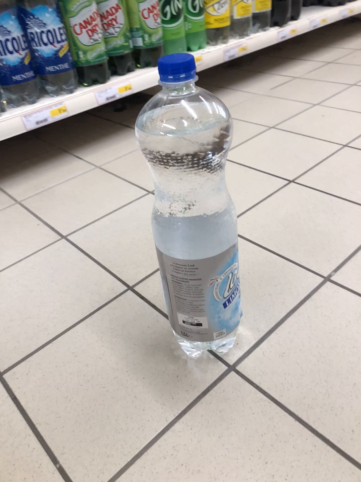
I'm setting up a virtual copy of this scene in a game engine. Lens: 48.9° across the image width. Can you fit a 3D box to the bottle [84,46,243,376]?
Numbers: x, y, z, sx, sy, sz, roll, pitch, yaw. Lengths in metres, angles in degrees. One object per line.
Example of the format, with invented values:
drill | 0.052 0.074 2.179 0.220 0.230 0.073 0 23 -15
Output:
bottle | 0.007 -0.010 0.414 0.100 0.328 0.101 -5 35 4
